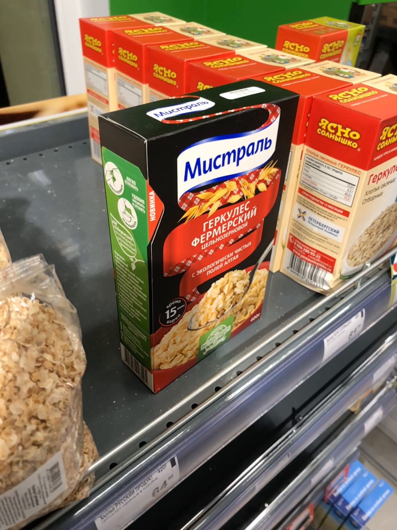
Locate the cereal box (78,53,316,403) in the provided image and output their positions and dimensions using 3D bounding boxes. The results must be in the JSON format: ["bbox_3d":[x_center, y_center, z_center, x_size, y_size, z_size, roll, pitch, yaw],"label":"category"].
[{"bbox_3d":[0.000,-0.021,0.320,0.140,0.219,0.050,-29,49,-34],"label":"cereal box"}]
